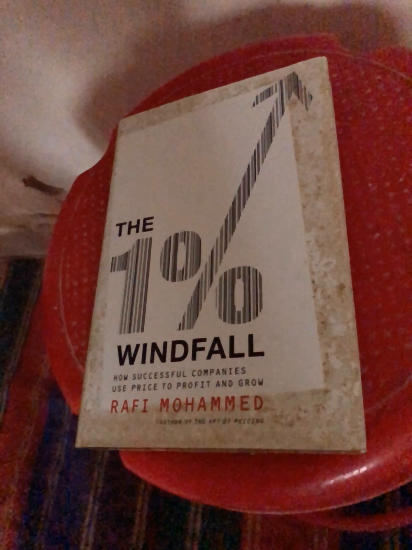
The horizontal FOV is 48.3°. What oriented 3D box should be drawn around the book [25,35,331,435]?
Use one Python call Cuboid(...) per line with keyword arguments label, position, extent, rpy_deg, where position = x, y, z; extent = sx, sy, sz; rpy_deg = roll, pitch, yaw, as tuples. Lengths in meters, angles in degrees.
Cuboid(label="book", position=(-0.018, -0.028, 0.319), extent=(0.180, 0.040, 0.260), rpy_deg=(-9, 64, 23))
